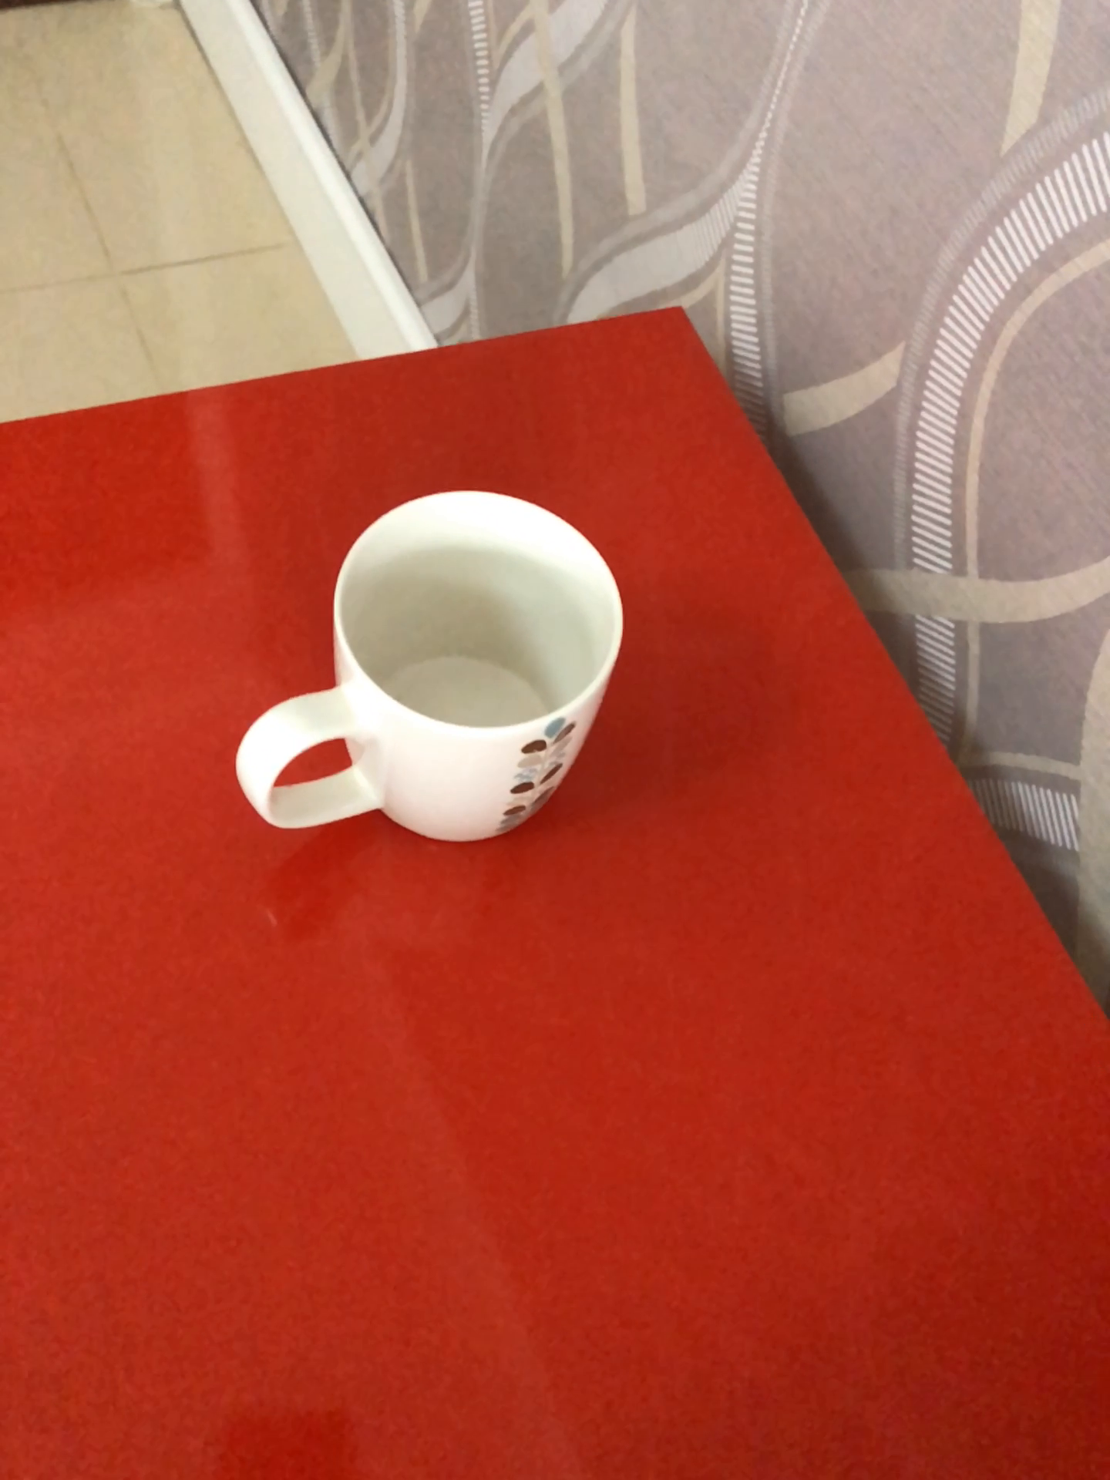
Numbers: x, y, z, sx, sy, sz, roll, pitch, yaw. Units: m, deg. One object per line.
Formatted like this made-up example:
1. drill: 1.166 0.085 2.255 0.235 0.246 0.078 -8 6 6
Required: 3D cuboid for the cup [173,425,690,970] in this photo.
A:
1. cup: -0.043 -0.012 0.408 0.120 0.119 0.090 -30 69 -24
